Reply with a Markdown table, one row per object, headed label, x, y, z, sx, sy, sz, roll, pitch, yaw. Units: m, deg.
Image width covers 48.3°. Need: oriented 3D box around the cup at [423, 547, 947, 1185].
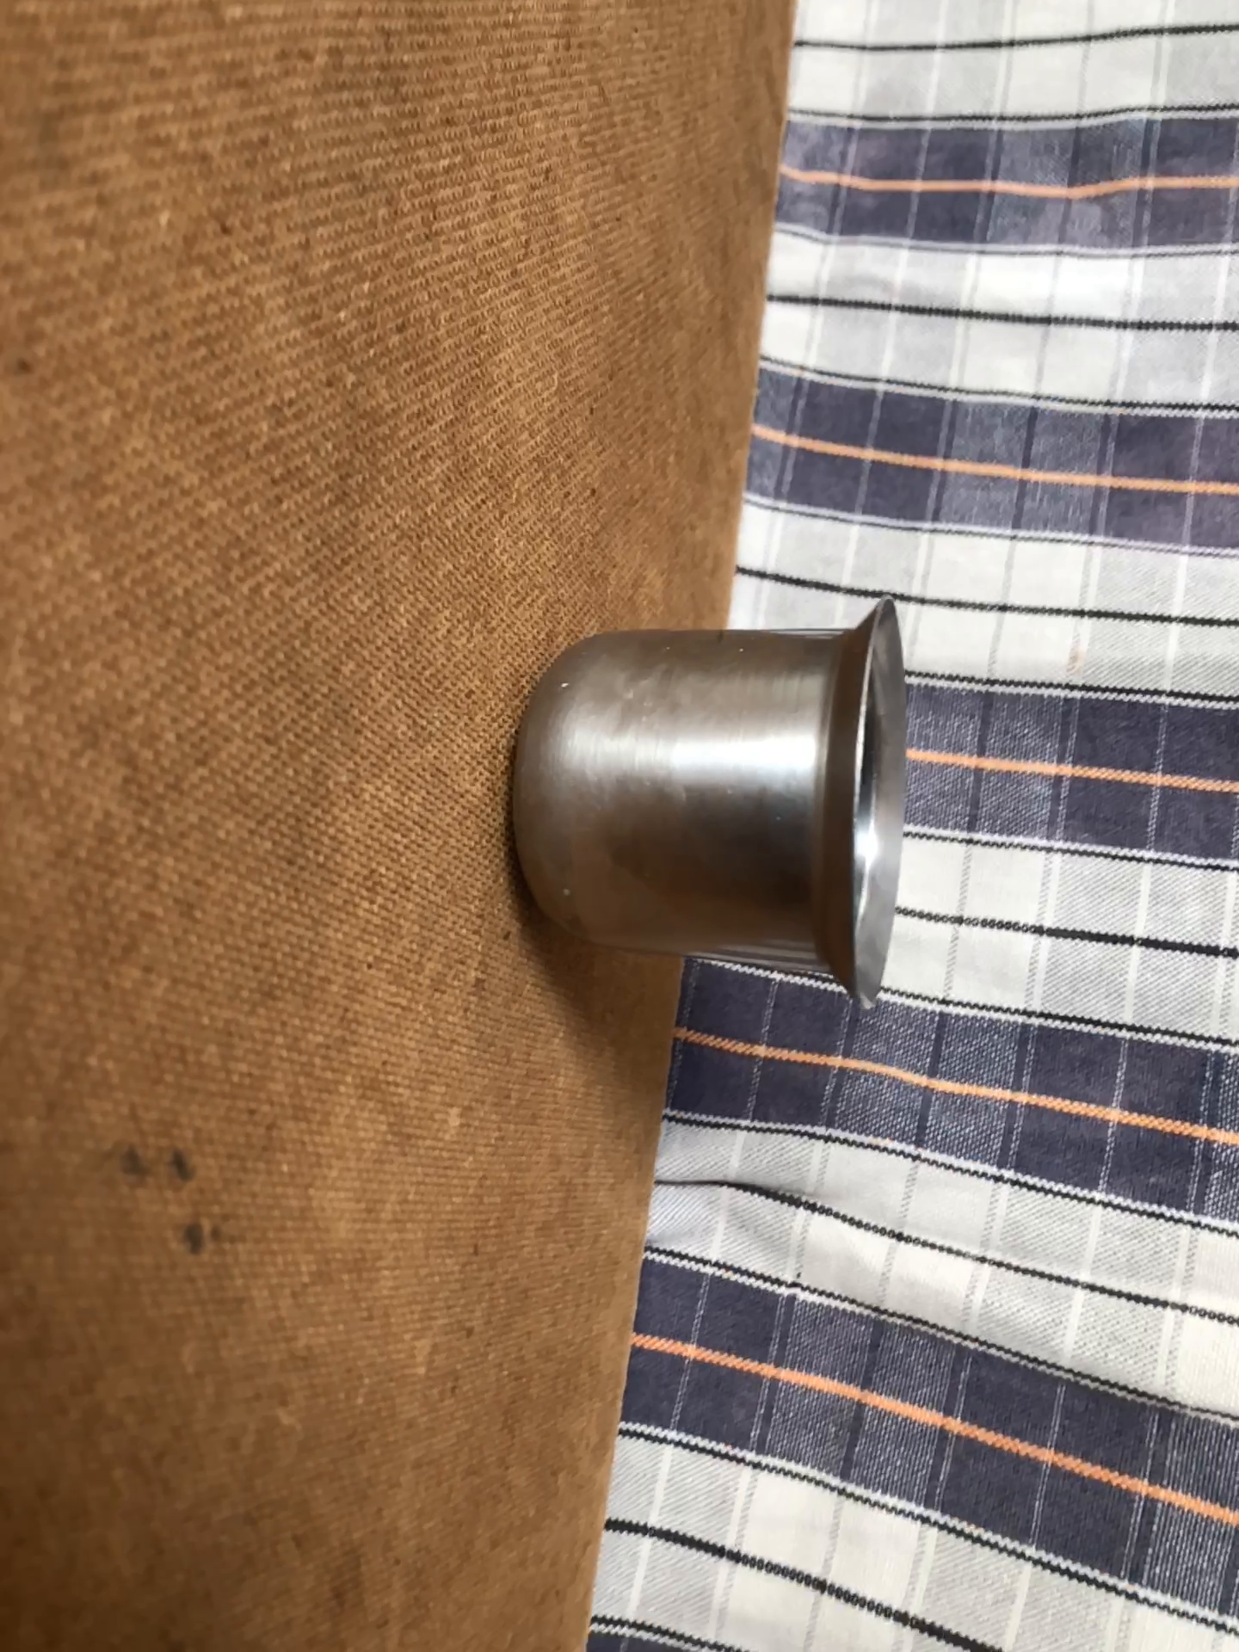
| label | x | y | z | sx | sy | sz | roll | pitch | yaw |
| --- | --- | --- | --- | --- | --- | --- | --- | --- | --- |
| cup | 0.018 | 0.005 | 0.222 | 0.070 | 0.060 | 0.070 | 4 | 90 | -72 |
